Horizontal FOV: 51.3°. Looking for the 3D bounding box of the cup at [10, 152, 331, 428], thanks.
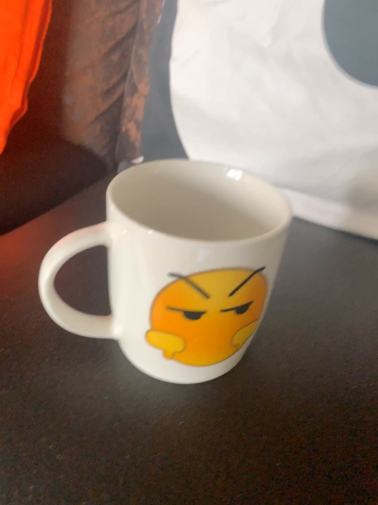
[{"bbox_3d":[-0.016,0.013,0.201,0.120,0.099,0.081,-3,34,-17],"label":"cup"}]
